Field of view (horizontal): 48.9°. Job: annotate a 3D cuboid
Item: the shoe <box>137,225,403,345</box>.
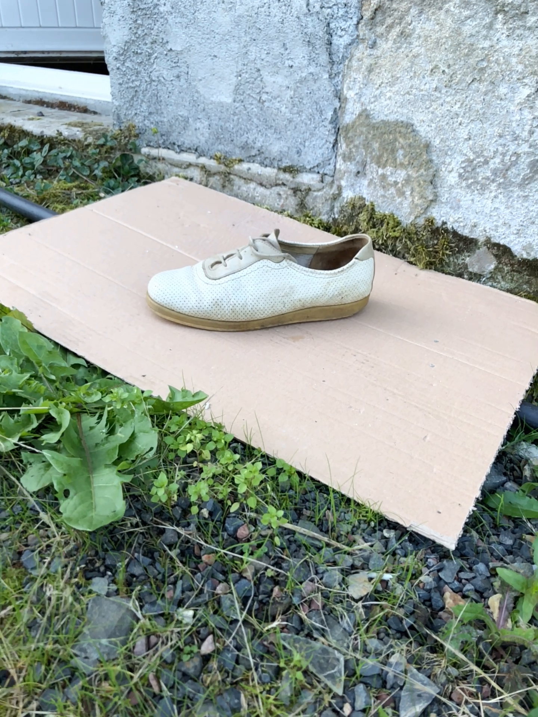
[{"bbox_3d":[-0.002,-0.082,0.634,0.260,0.089,0.090,-3,31,-8],"label":"shoe"}]
